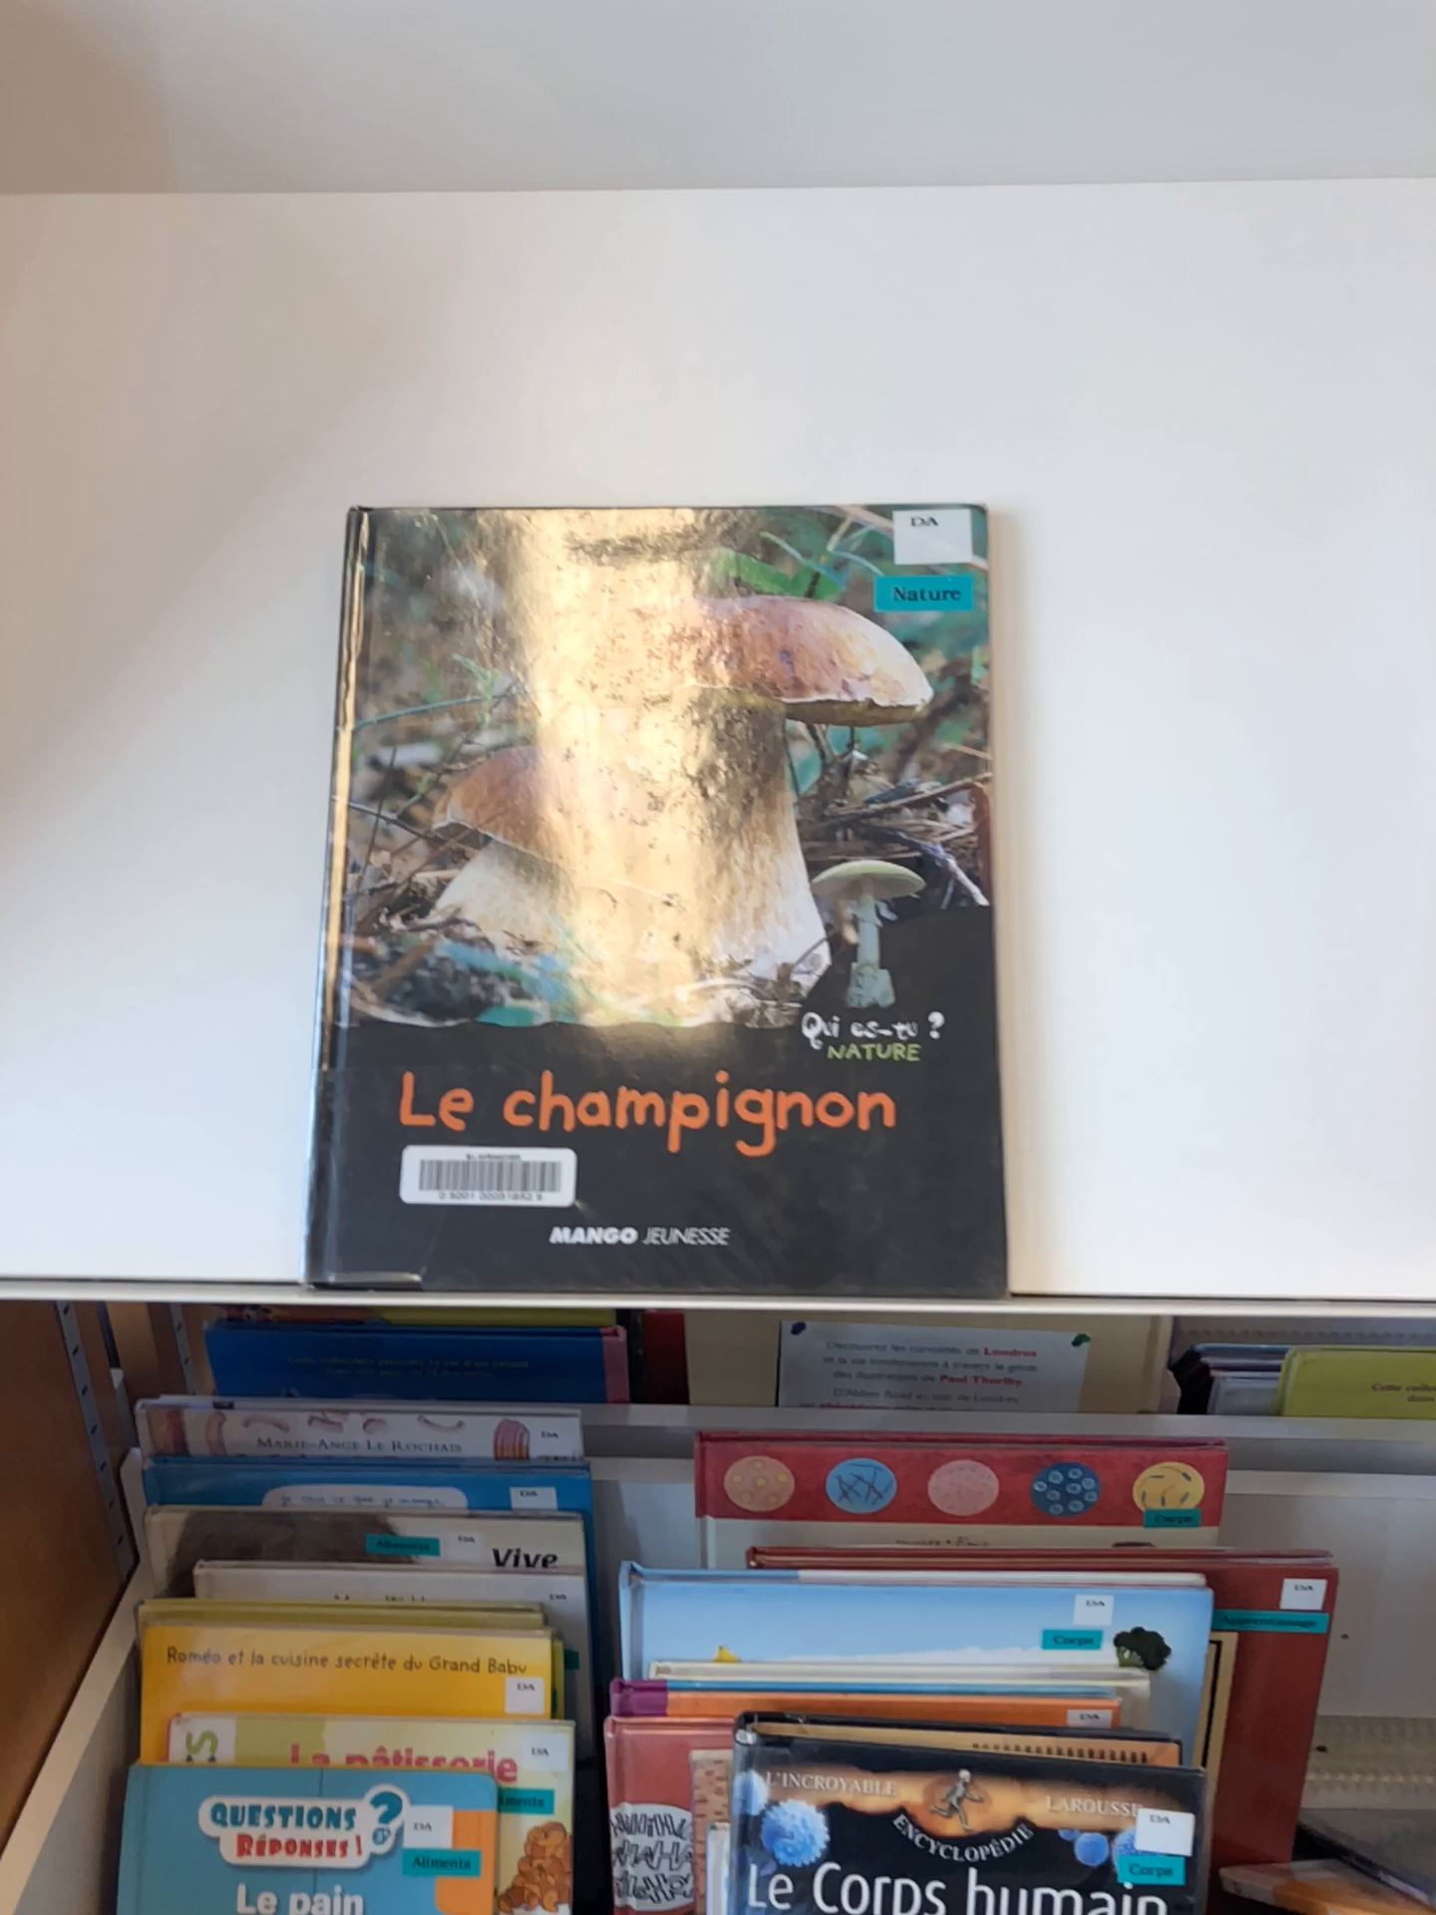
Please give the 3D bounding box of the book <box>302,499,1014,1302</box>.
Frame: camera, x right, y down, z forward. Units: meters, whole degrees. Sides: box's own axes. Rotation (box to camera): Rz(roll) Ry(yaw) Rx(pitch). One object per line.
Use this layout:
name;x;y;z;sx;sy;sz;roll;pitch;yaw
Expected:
book;-0.016;-0.021;0.480;0.202;0.243;0.020;0;-11;3
